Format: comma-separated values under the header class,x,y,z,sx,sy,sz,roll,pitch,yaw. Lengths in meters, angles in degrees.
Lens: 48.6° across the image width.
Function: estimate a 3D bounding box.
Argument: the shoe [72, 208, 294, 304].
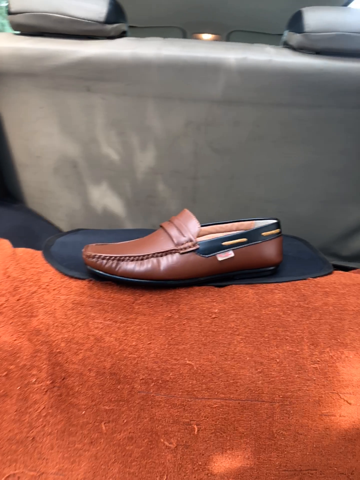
class,x,y,z,sx,sy,sz,roll,pitch,yaw
shoe,0.003,0.012,0.547,0.281,0.070,0.110,-7,17,-19
